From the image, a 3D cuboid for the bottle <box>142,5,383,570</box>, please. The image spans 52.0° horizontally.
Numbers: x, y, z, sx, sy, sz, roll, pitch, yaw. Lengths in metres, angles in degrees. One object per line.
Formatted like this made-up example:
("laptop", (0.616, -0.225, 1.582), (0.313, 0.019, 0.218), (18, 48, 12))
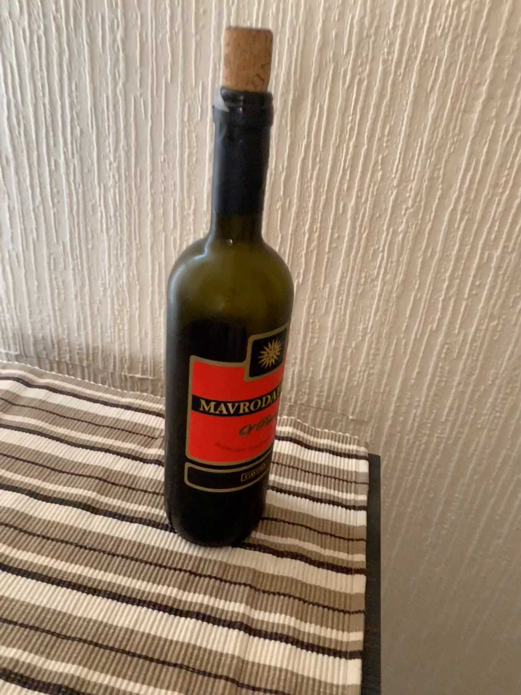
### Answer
("bottle", (-0.015, -0.016, 0.328), (0.080, 0.317, 0.080), (5, 30, -3))
